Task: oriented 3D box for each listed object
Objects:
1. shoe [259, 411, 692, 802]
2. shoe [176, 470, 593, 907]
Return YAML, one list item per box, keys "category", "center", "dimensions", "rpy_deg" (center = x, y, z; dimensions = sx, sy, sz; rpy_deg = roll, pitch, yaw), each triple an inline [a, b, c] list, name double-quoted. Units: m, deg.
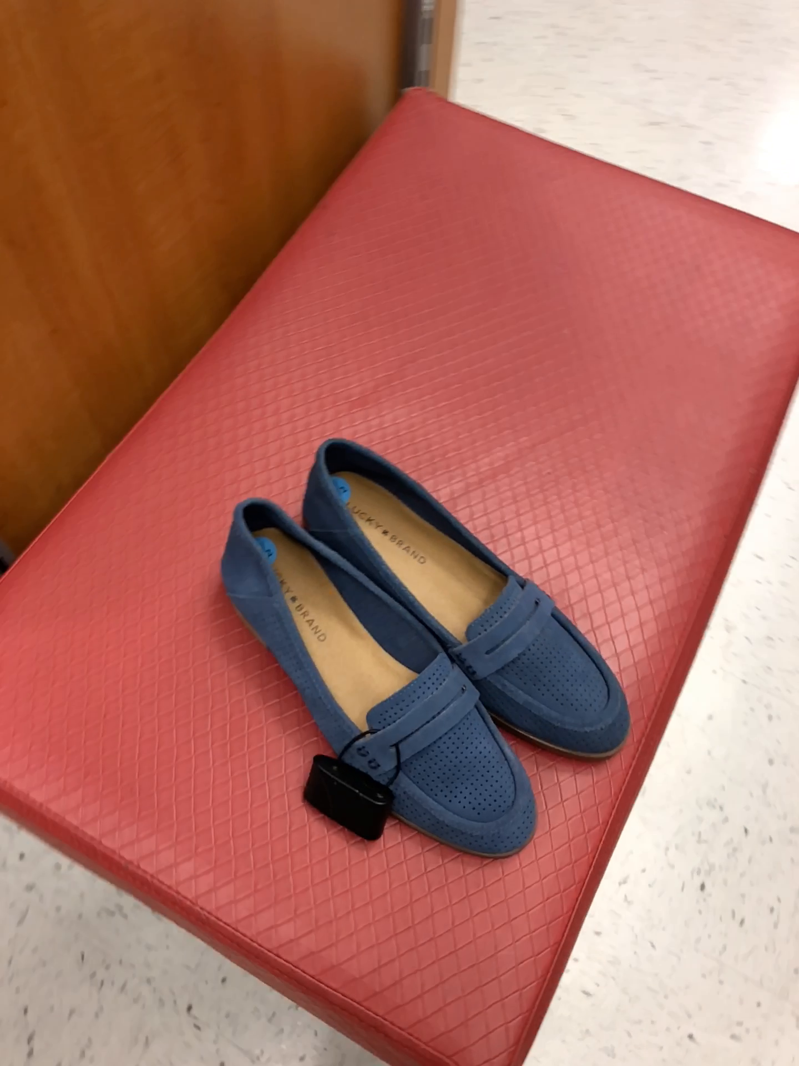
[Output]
- category: "shoe"
  center: [0.038, 0.040, 0.548]
  dimensions: [0.258, 0.069, 0.085]
  rpy_deg: [38, 67, 17]
- category: "shoe"
  center: [-0.016, 0.085, 0.518]
  dimensions: [0.082, 0.069, 0.254]
  rpy_deg: [-38, 69, -20]
